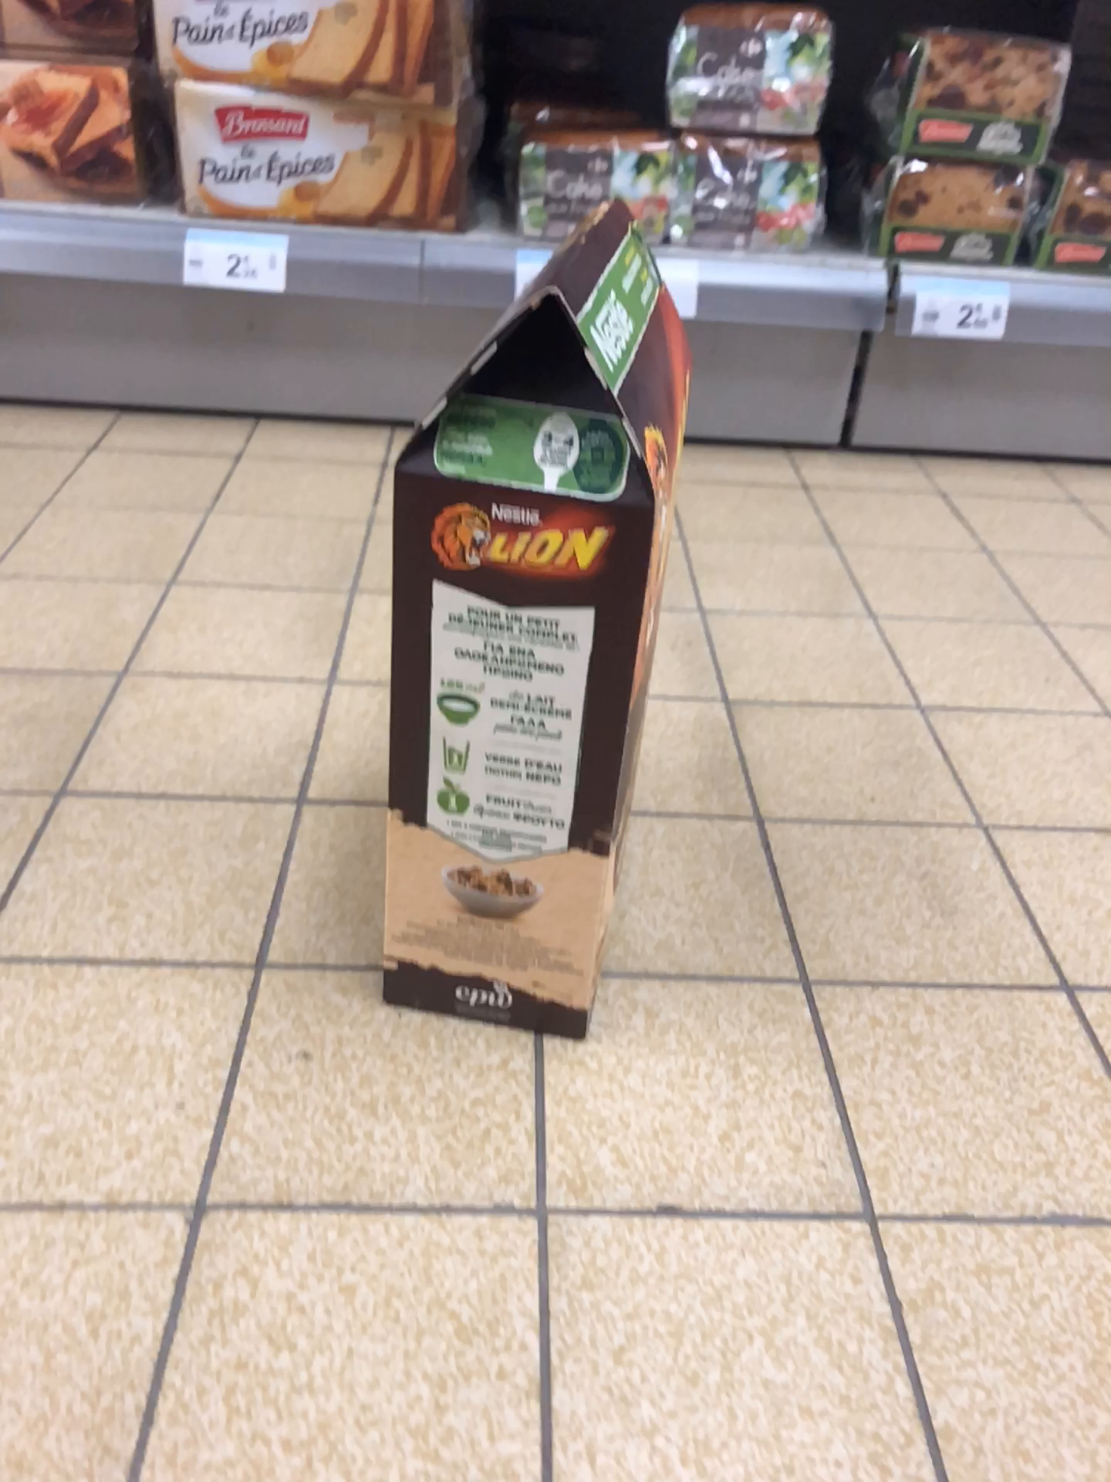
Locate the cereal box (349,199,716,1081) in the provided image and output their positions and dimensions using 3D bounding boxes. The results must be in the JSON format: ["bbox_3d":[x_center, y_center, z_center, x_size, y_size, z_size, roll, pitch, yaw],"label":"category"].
[{"bbox_3d":[-0.007,-0.035,0.416,0.080,0.248,0.151,8,32,6],"label":"cereal box"}]
